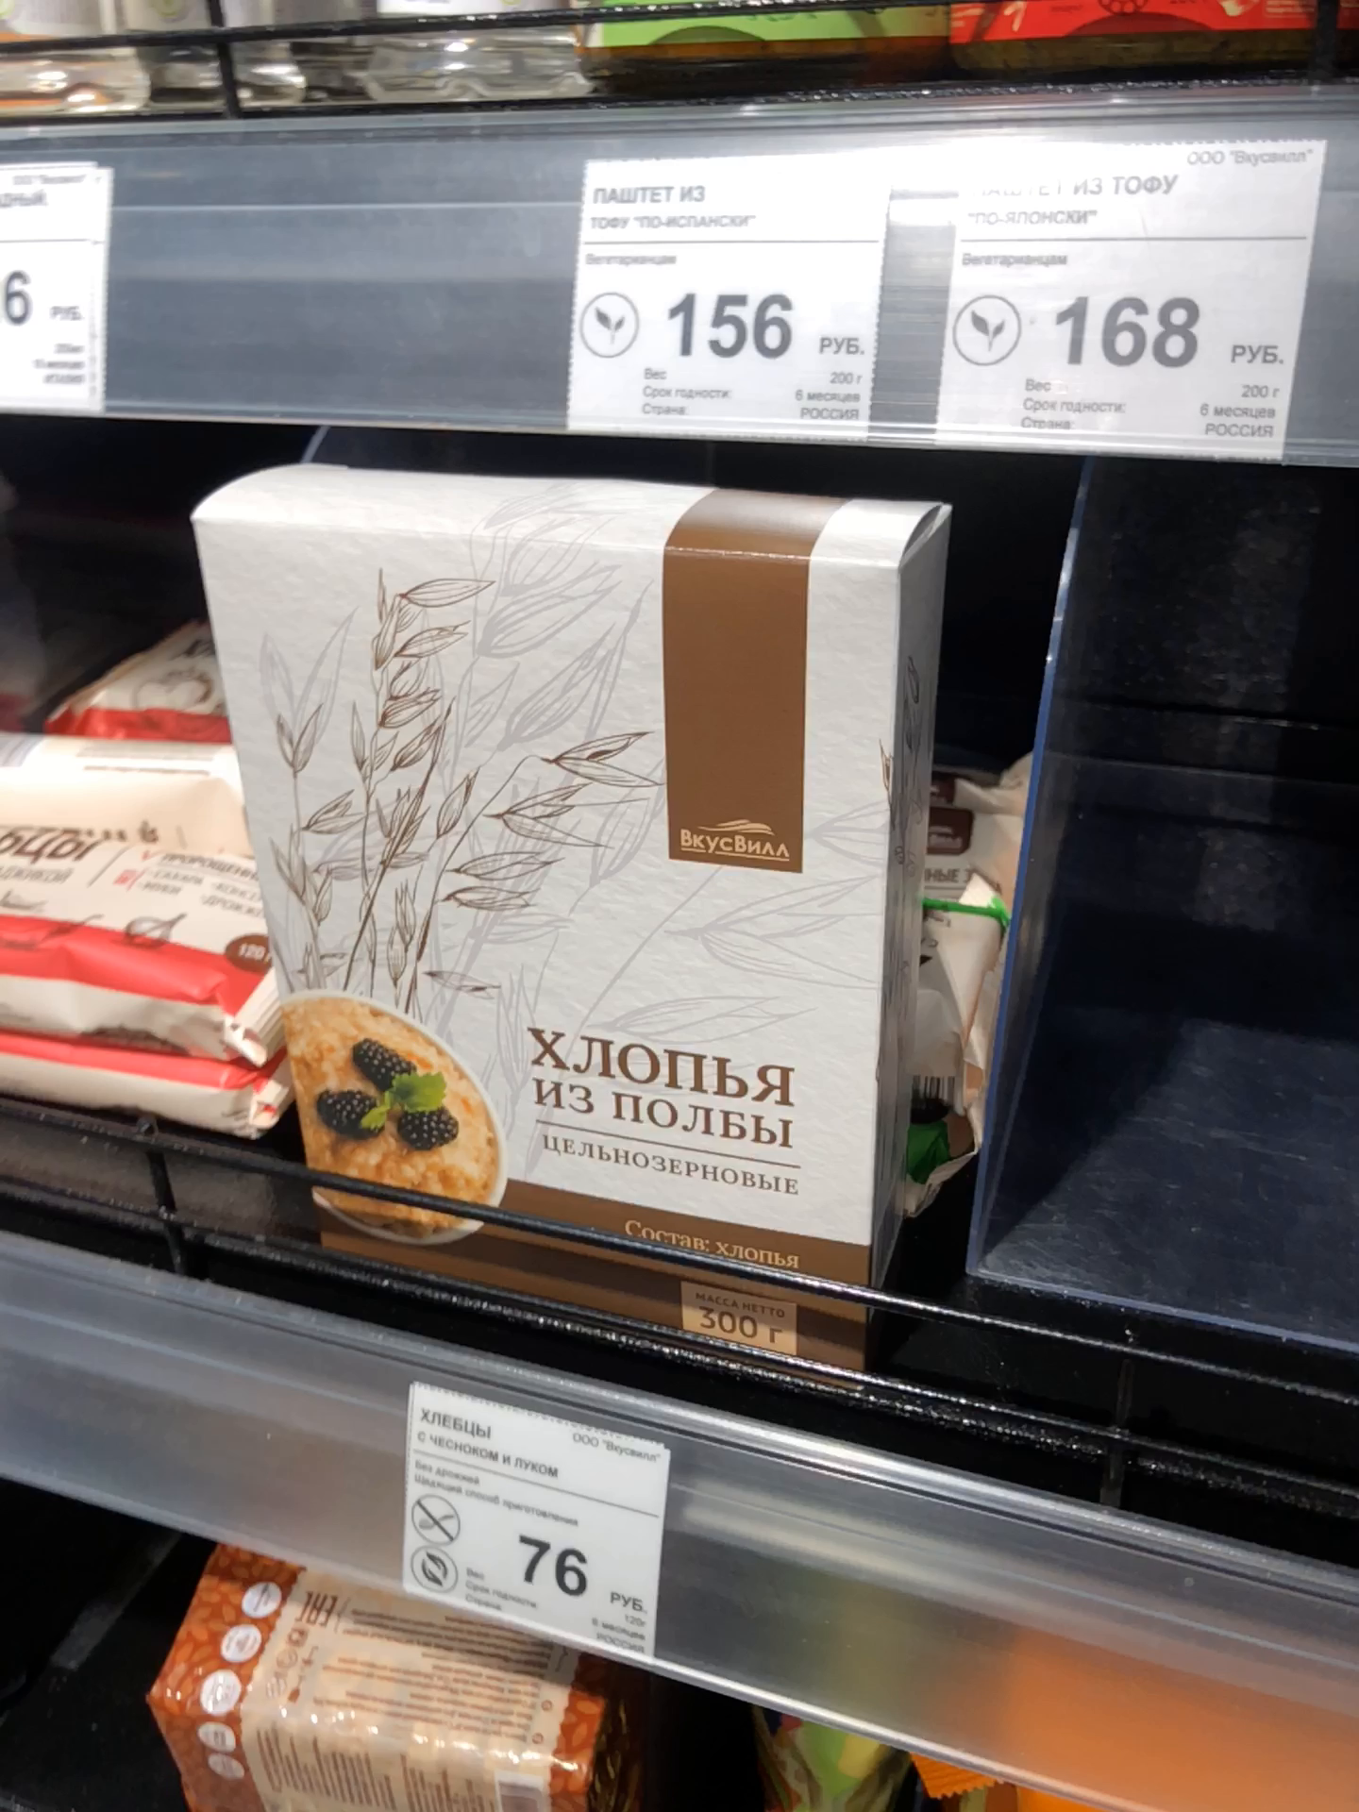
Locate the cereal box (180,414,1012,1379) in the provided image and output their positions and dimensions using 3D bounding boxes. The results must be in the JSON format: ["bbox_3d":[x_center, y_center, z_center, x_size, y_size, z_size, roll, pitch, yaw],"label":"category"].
[{"bbox_3d":[-0.014,-0.002,0.329,0.150,0.189,0.050,8,29,18],"label":"cereal box"}]
